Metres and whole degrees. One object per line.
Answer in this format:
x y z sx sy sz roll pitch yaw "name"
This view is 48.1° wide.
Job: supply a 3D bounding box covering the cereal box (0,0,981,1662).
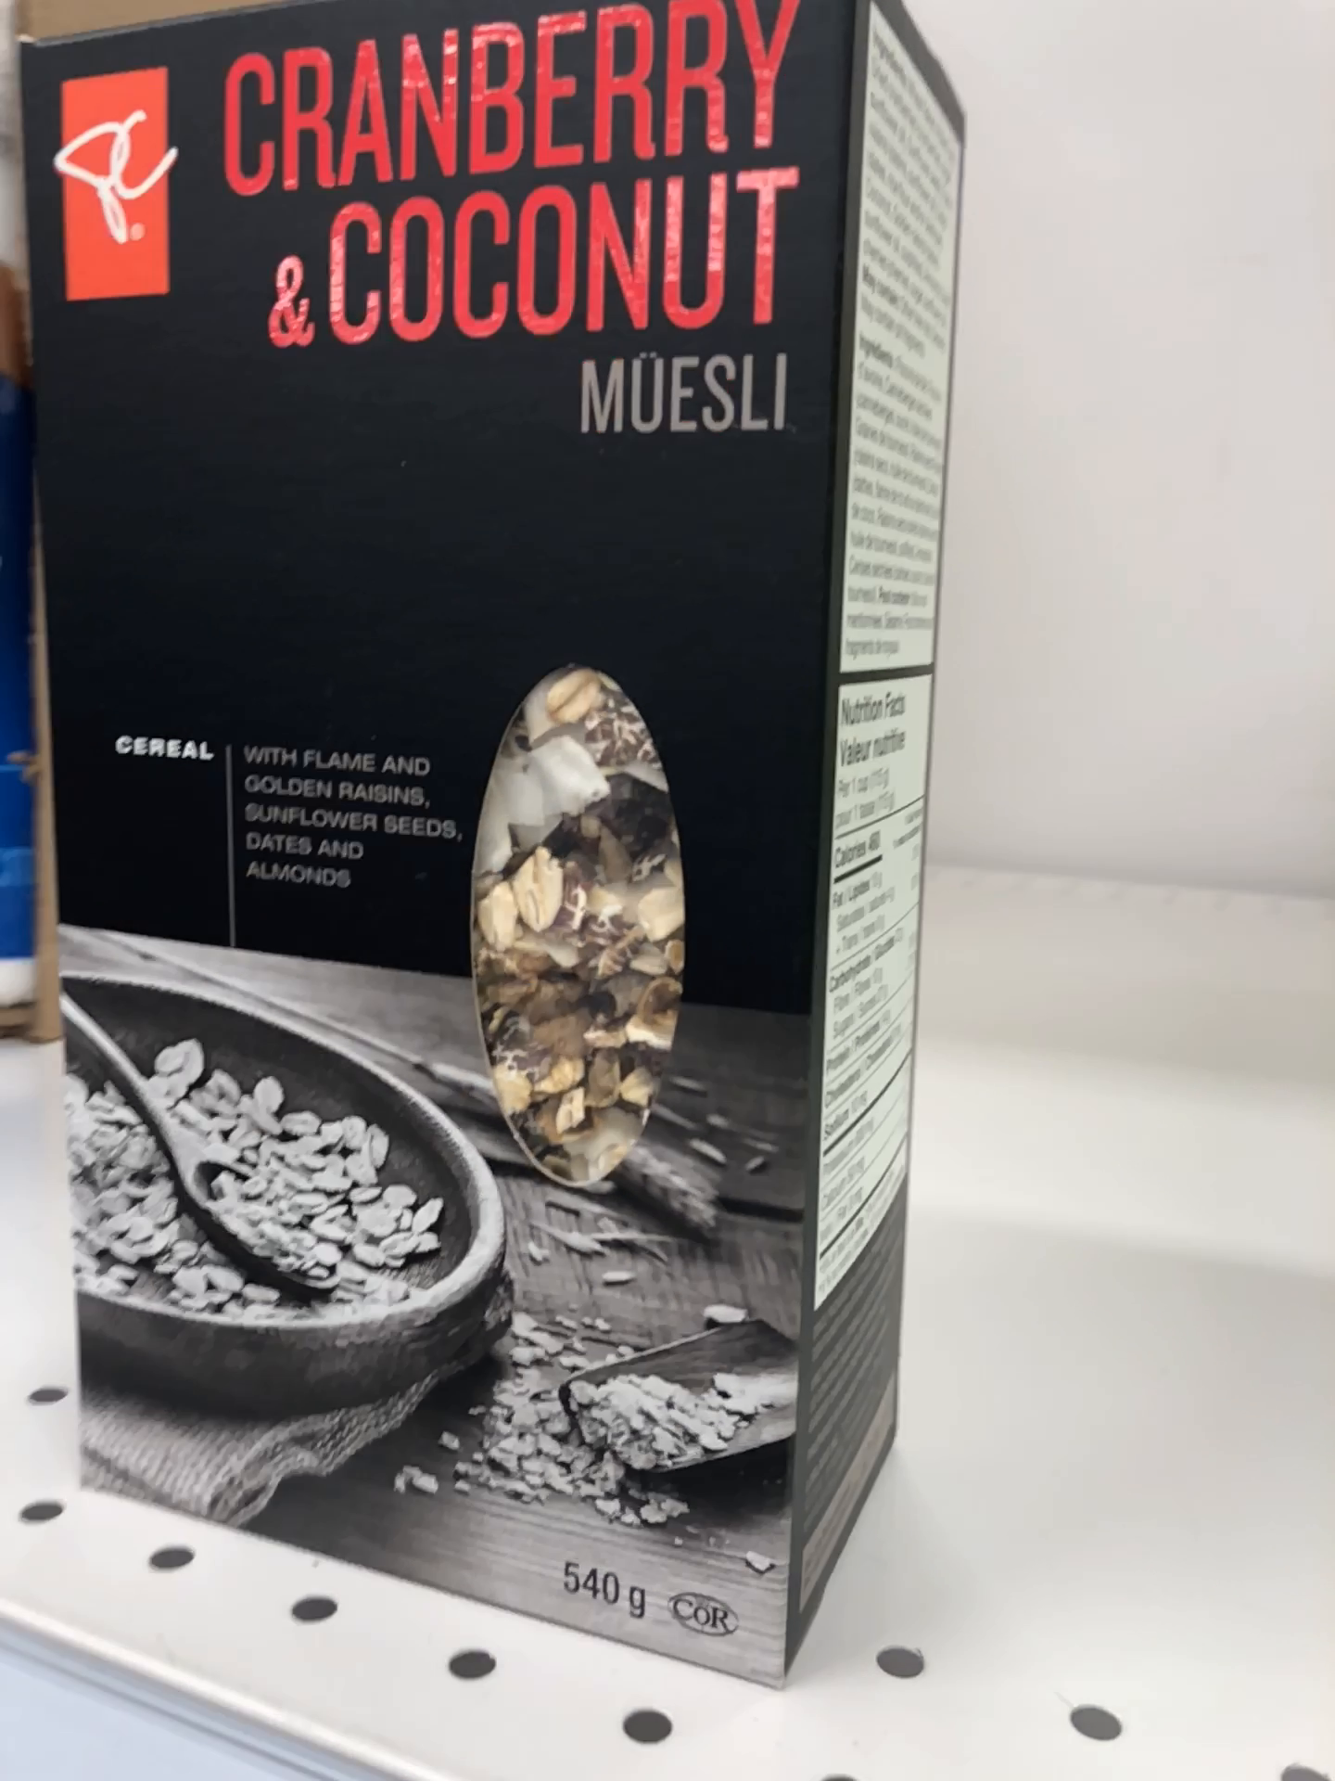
-0.027 -0.017 0.217 0.120 0.200 0.070 5 8 22 "cereal box"
